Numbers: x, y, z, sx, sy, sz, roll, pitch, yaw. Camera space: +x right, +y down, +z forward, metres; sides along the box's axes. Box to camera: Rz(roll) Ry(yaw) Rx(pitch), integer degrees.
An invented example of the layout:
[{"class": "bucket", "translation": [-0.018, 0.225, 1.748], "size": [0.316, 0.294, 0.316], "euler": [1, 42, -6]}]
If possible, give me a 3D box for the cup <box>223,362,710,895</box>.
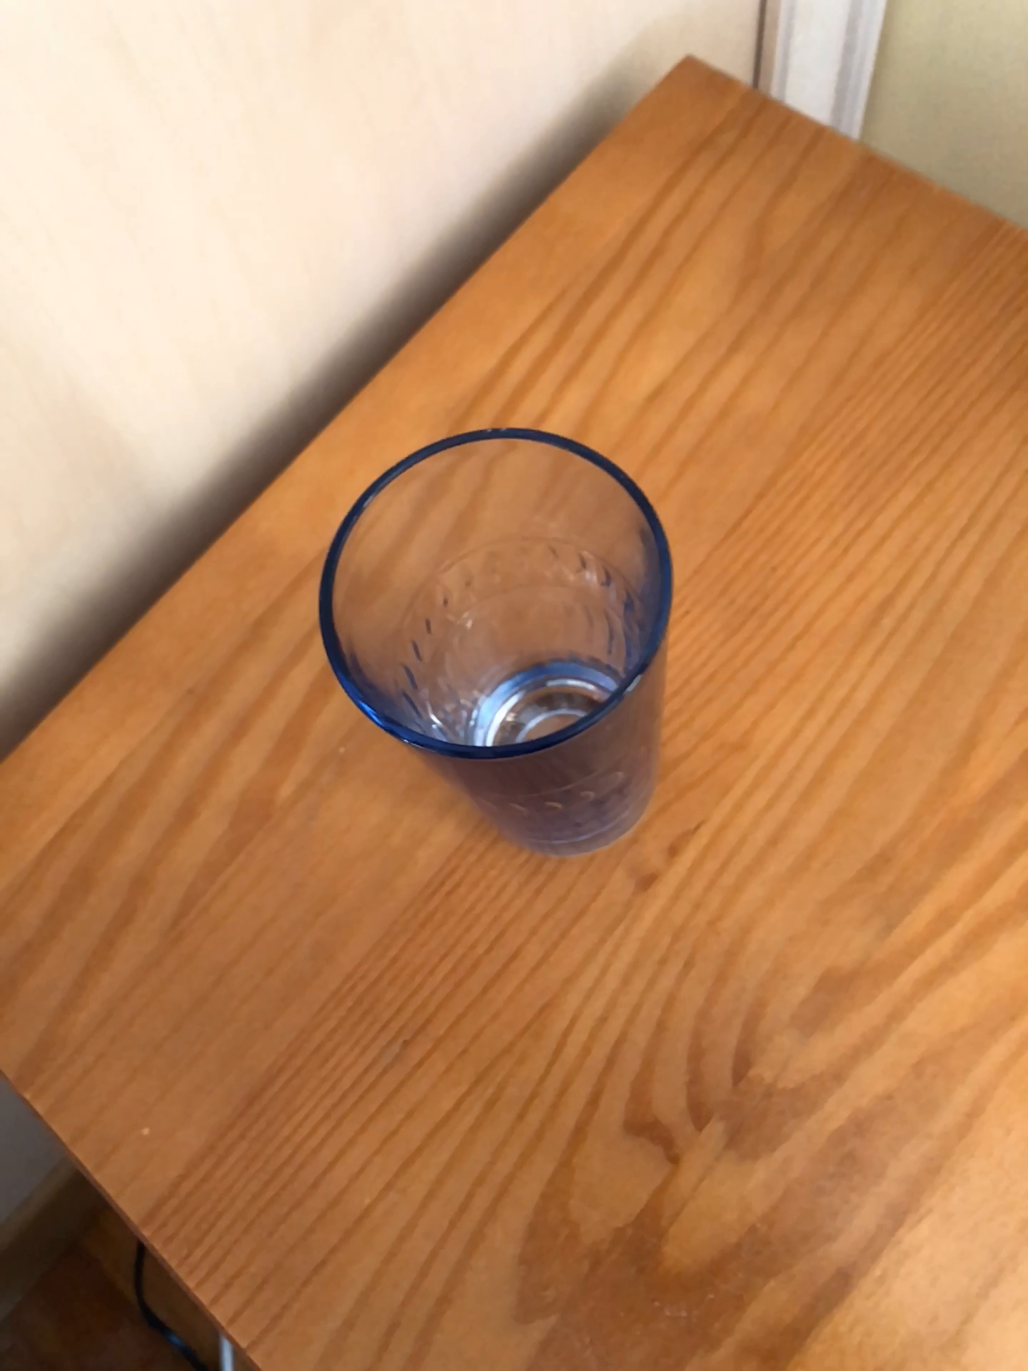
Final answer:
[{"class": "cup", "translation": [0.000, -0.003, 0.269], "size": [0.075, 0.130, 0.070], "euler": [-2, 70, 7]}]
